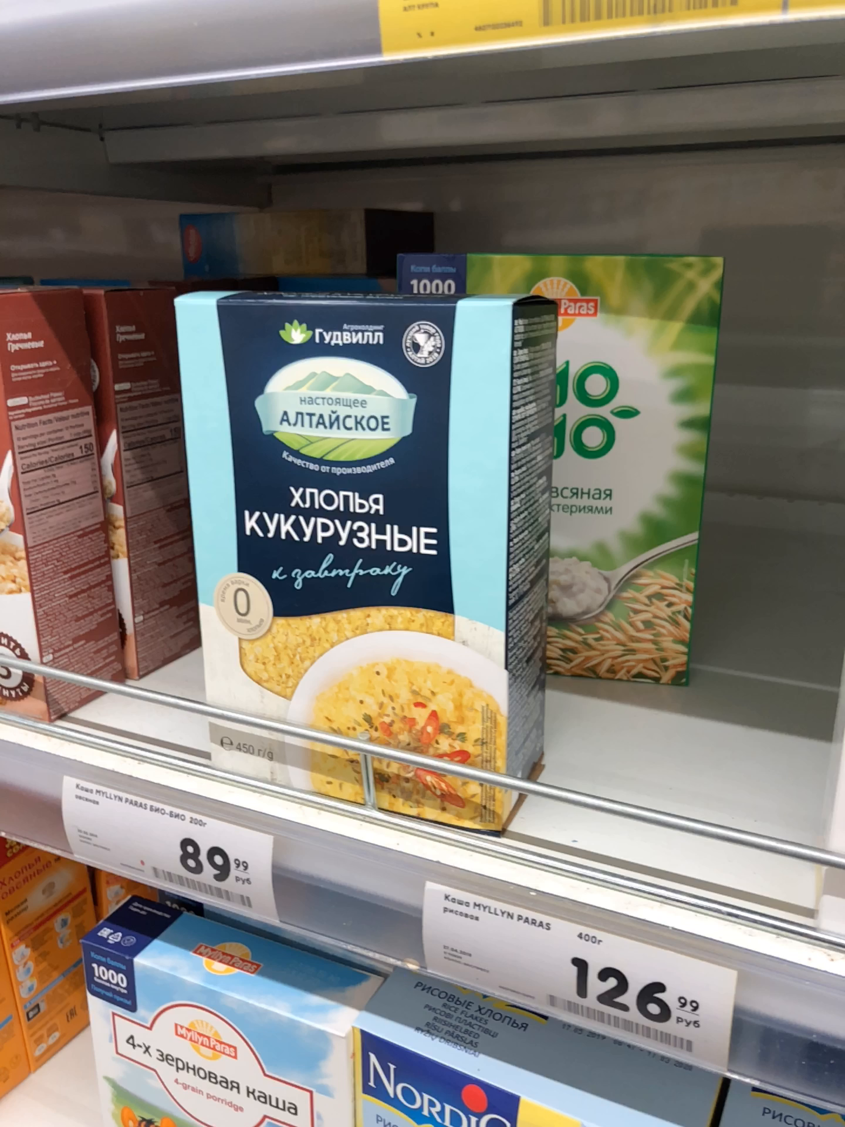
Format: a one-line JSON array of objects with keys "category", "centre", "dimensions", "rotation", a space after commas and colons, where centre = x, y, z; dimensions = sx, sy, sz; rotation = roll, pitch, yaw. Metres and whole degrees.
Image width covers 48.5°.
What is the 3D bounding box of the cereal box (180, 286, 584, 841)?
[{"category": "cereal box", "centre": [-0.014, -0.007, 0.360], "dimensions": [0.130, 0.189, 0.060], "rotation": [7, 18, 23]}]
